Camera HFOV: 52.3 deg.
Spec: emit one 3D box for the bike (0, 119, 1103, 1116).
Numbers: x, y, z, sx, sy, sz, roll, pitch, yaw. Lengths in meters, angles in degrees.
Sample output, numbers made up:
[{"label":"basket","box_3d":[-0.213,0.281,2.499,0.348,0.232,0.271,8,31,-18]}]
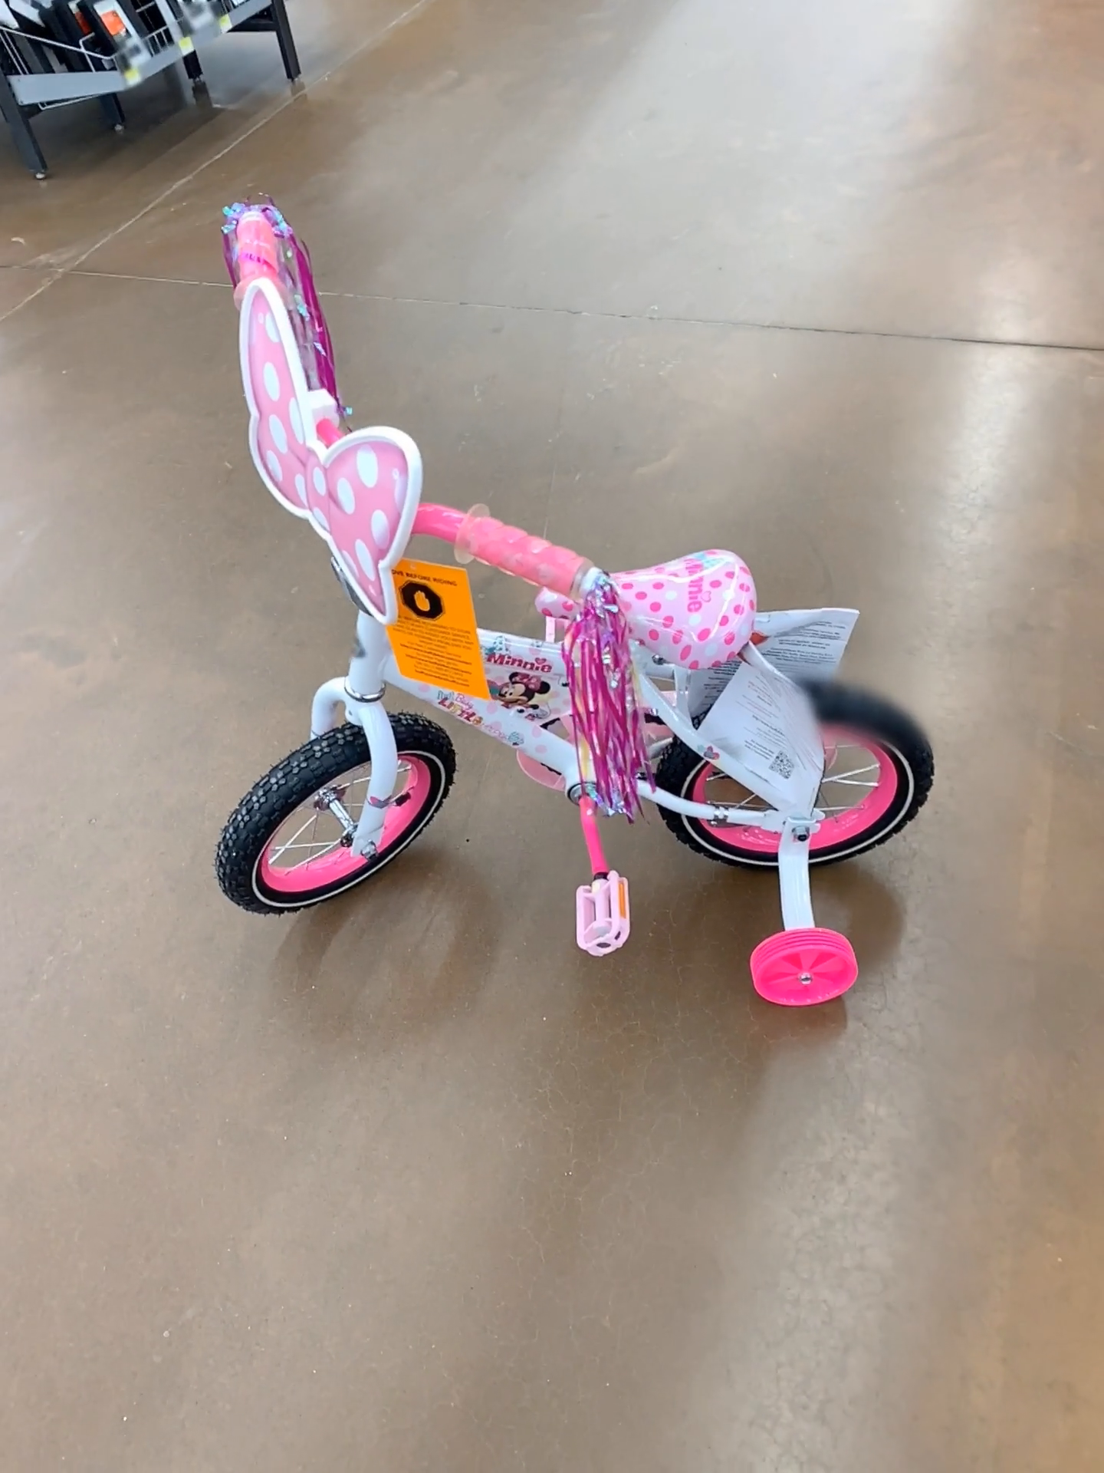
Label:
[{"label":"bike","box_3d":[-0.003,-0.051,1.095,0.776,0.707,0.429,-10,46,3]}]
